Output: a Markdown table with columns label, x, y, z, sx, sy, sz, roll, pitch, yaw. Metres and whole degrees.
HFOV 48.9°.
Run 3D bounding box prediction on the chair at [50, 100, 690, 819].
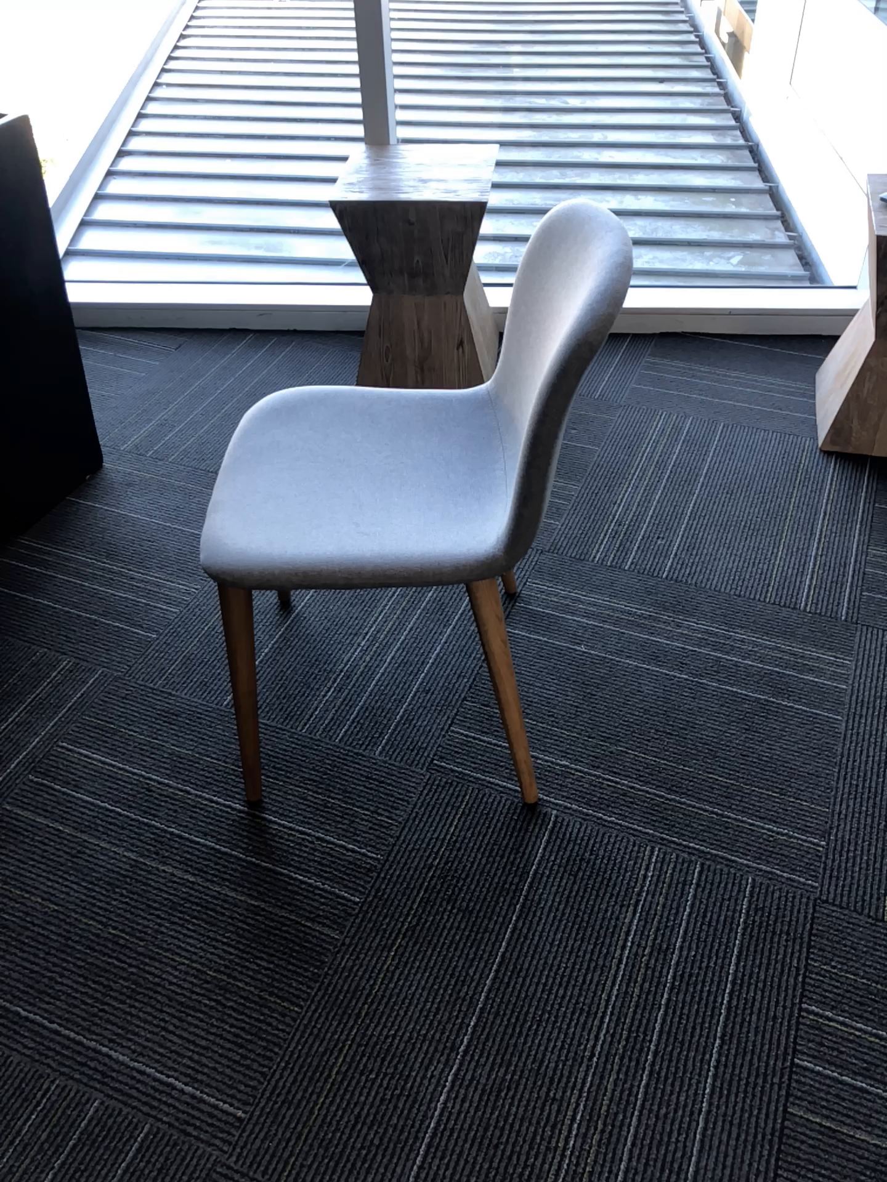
| label | x | y | z | sx | sy | sz | roll | pitch | yaw |
| --- | --- | --- | --- | --- | --- | --- | --- | --- | --- |
| chair | -0.075 | -0.170 | 1.419 | 0.610 | 0.846 | 0.563 | 2 | 40 | 0 |
